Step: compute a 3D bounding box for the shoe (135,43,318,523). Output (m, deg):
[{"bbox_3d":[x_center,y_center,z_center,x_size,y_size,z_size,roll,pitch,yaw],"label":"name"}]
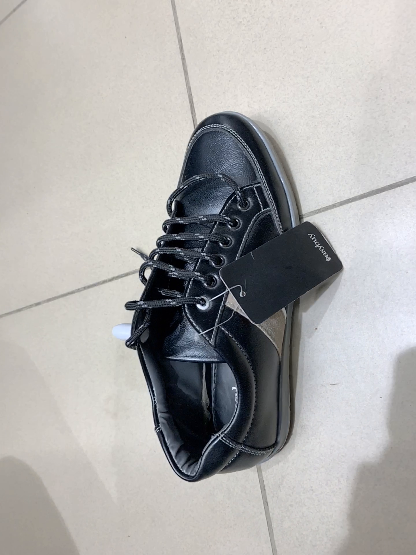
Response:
[{"bbox_3d":[0.013,0.002,0.332,0.101,0.090,0.300,-5,83,33],"label":"shoe"}]
